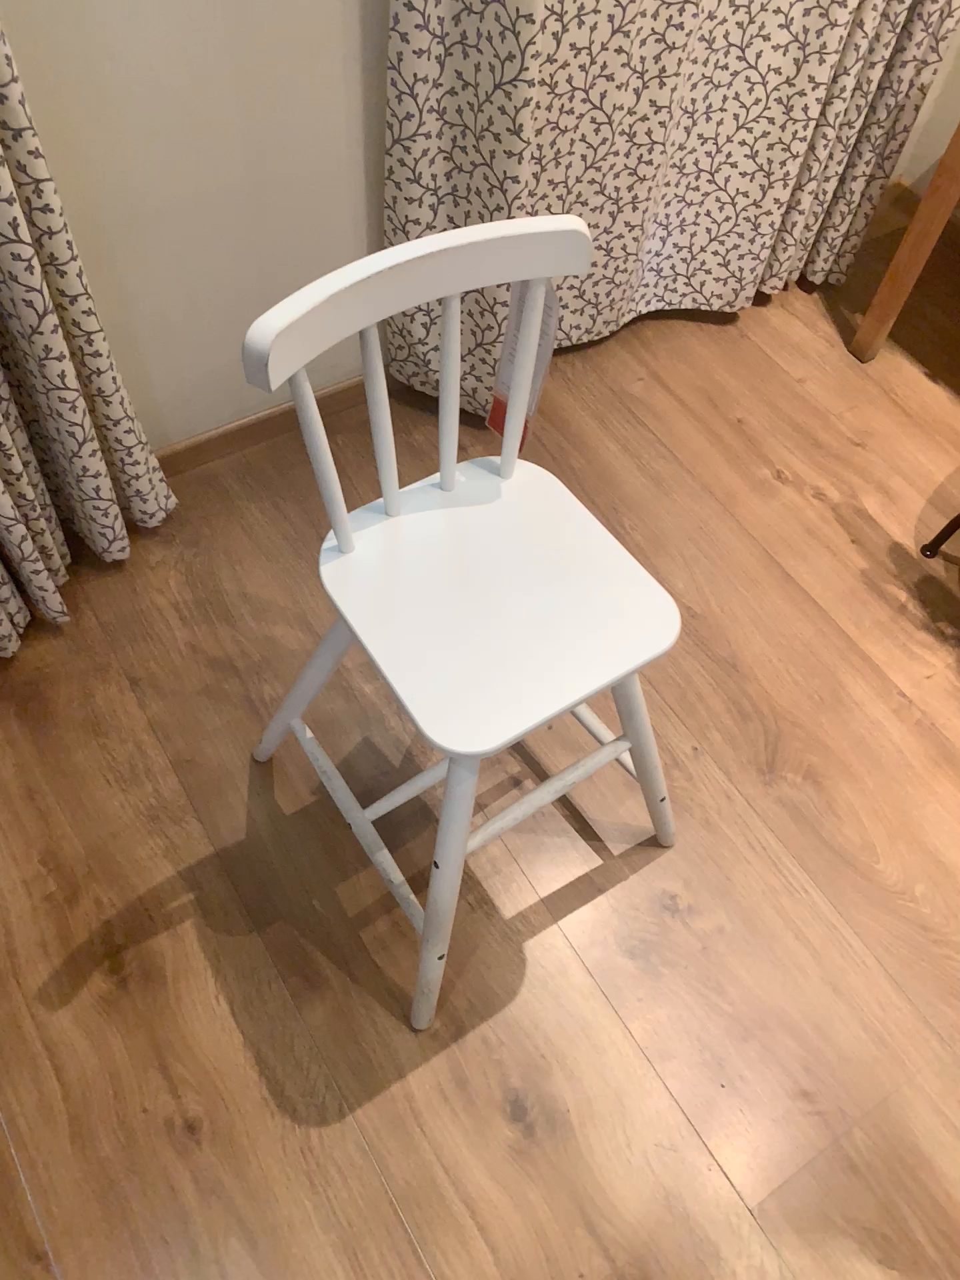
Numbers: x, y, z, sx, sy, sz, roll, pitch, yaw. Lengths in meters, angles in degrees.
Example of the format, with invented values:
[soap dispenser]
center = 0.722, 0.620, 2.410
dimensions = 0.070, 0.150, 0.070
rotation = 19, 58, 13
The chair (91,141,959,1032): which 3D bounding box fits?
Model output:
[chair]
center = 0.008, -0.008, 0.956
dimensions = 0.450, 0.649, 0.431
rotation = -29, 64, -22
